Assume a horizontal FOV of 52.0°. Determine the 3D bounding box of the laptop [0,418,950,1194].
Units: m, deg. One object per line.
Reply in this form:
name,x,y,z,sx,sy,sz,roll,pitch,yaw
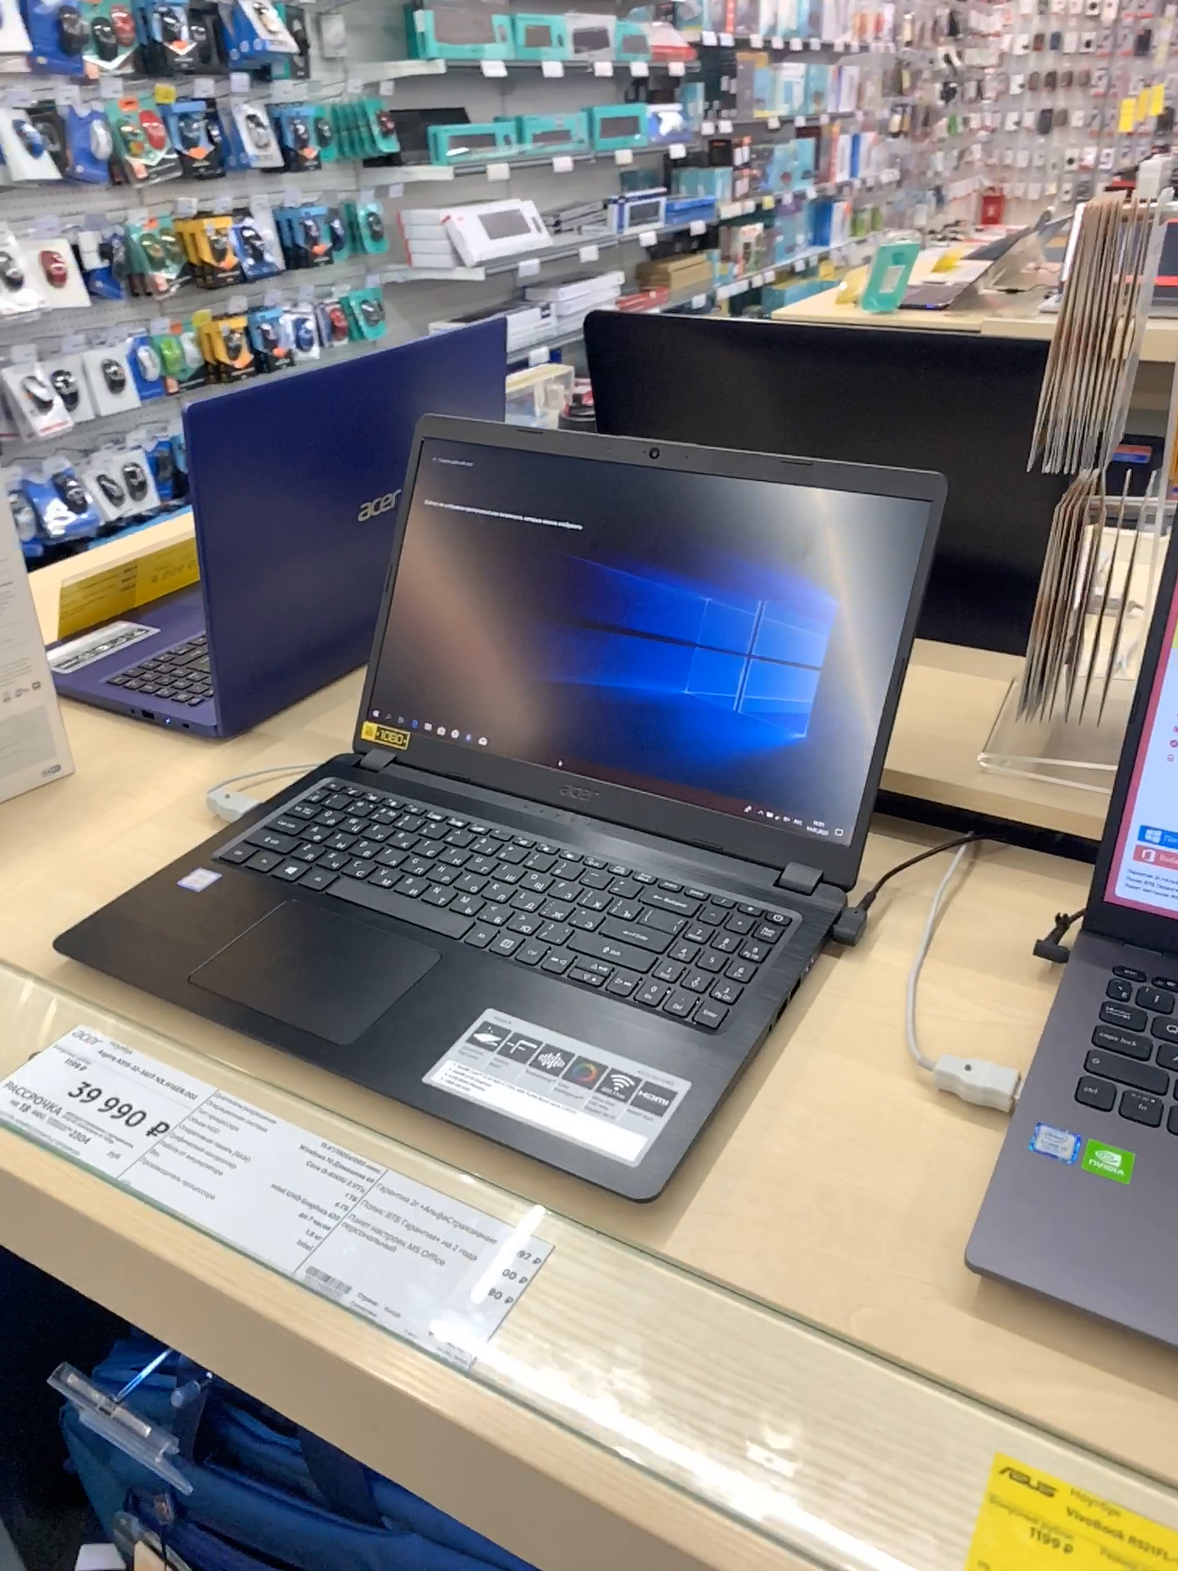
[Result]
laptop,-0.049,-0.043,0.683,0.376,0.216,0.377,14,33,25
